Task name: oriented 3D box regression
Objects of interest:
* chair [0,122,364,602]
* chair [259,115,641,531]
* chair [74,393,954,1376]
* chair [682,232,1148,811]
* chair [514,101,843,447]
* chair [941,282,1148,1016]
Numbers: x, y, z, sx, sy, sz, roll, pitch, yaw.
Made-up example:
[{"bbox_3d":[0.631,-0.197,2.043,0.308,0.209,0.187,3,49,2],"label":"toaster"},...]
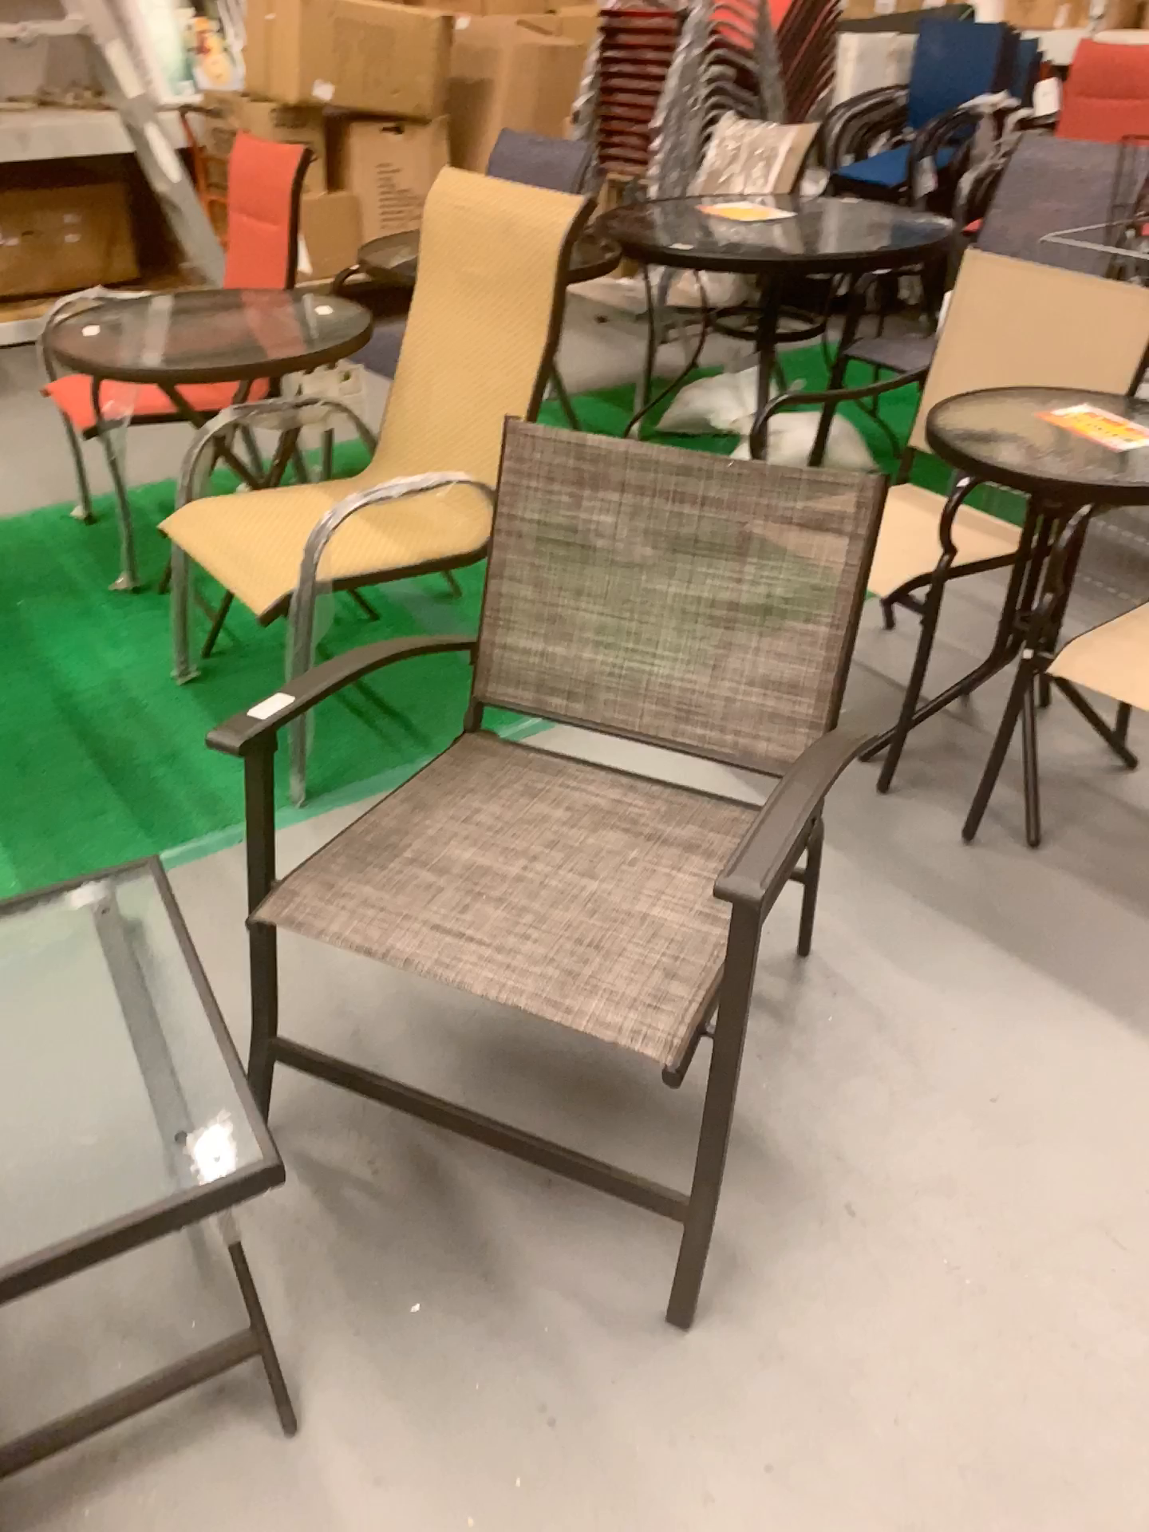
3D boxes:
[{"bbox_3d":[-1.005,-1.051,2.956,0.669,0.957,0.677,-17,38,-27],"label":"chair"},{"bbox_3d":[-0.367,-1.346,3.457,0.770,0.957,0.737,-21,40,-32],"label":"chair"},{"bbox_3d":[0.000,0.071,1.468,0.675,0.778,0.772,14,36,19],"label":"chair"},{"bbox_3d":[0.669,-0.499,2.230,0.630,0.837,0.576,-21,40,-32],"label":"chair"},{"bbox_3d":[0.339,-1.821,4.254,0.870,0.996,0.697,-19,39,-30],"label":"chair"},{"bbox_3d":[1.068,-0.221,1.816,0.630,0.847,0.556,-26,43,-37],"label":"chair"}]
